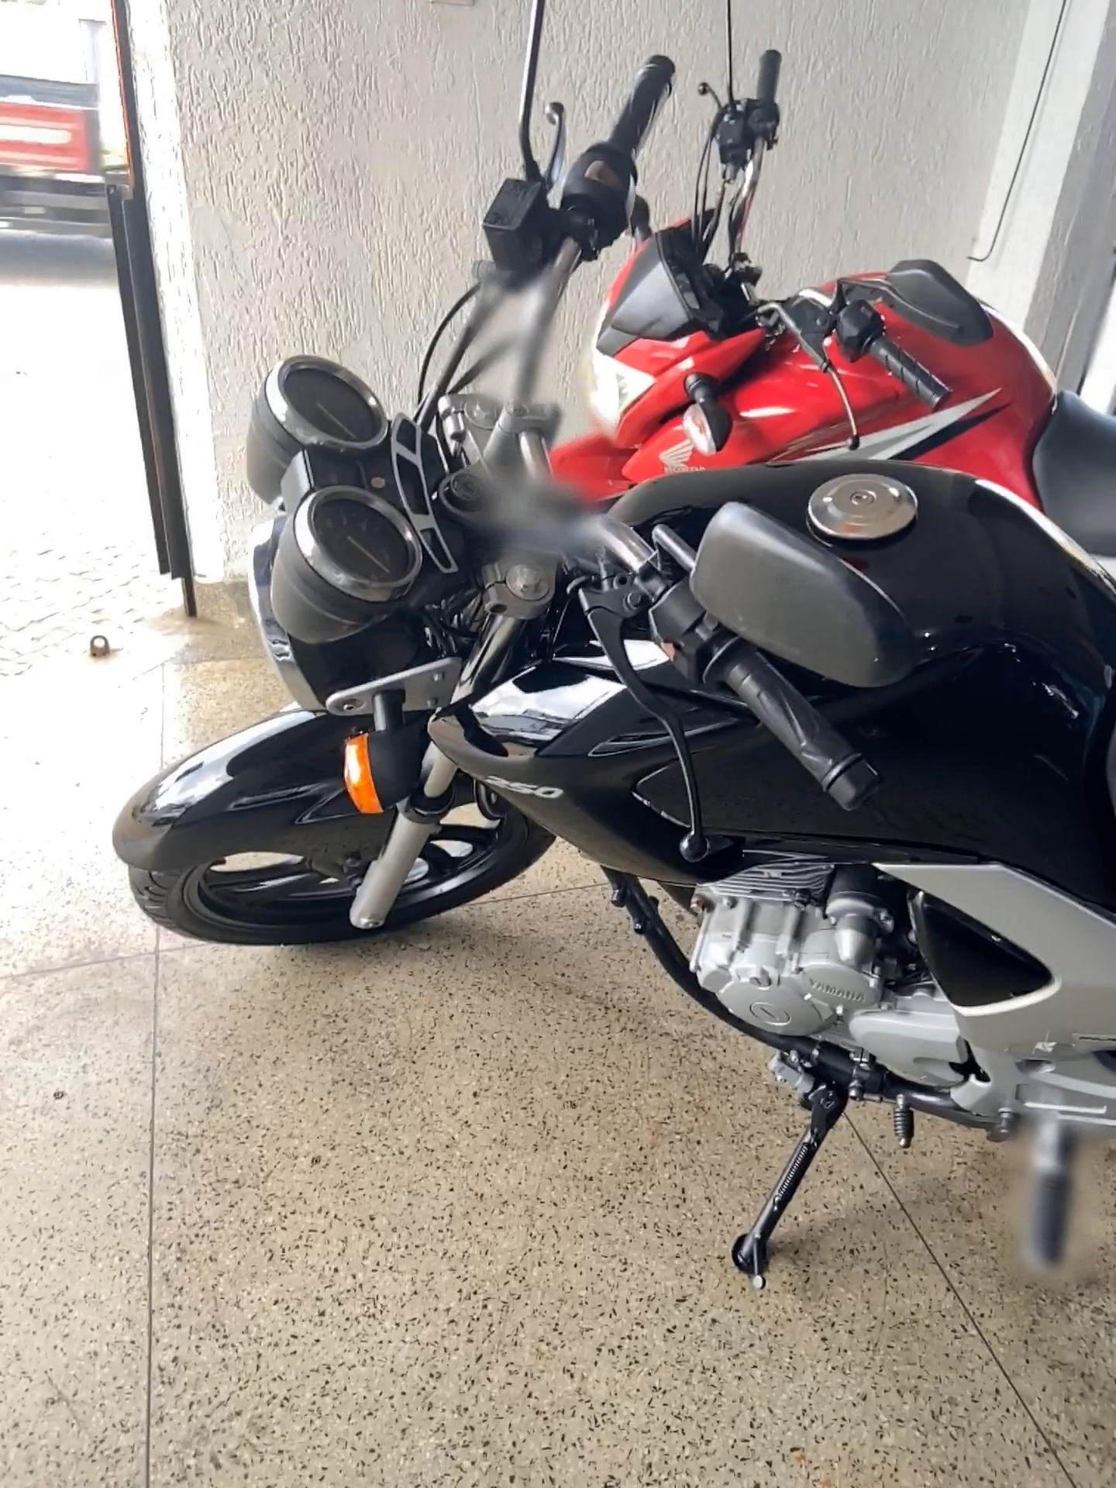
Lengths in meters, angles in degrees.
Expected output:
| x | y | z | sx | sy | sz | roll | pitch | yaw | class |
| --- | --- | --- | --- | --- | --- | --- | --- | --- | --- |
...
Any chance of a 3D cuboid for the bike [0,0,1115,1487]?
| x | y | z | sx | sy | sz | roll | pitch | yaw | class |
| --- | --- | --- | --- | --- | --- | --- | --- | --- | --- |
| 0.456 | 0.130 | 1.182 | 1.877 | 1.511 | 0.848 | 9 | 32 | 4 | bike |
